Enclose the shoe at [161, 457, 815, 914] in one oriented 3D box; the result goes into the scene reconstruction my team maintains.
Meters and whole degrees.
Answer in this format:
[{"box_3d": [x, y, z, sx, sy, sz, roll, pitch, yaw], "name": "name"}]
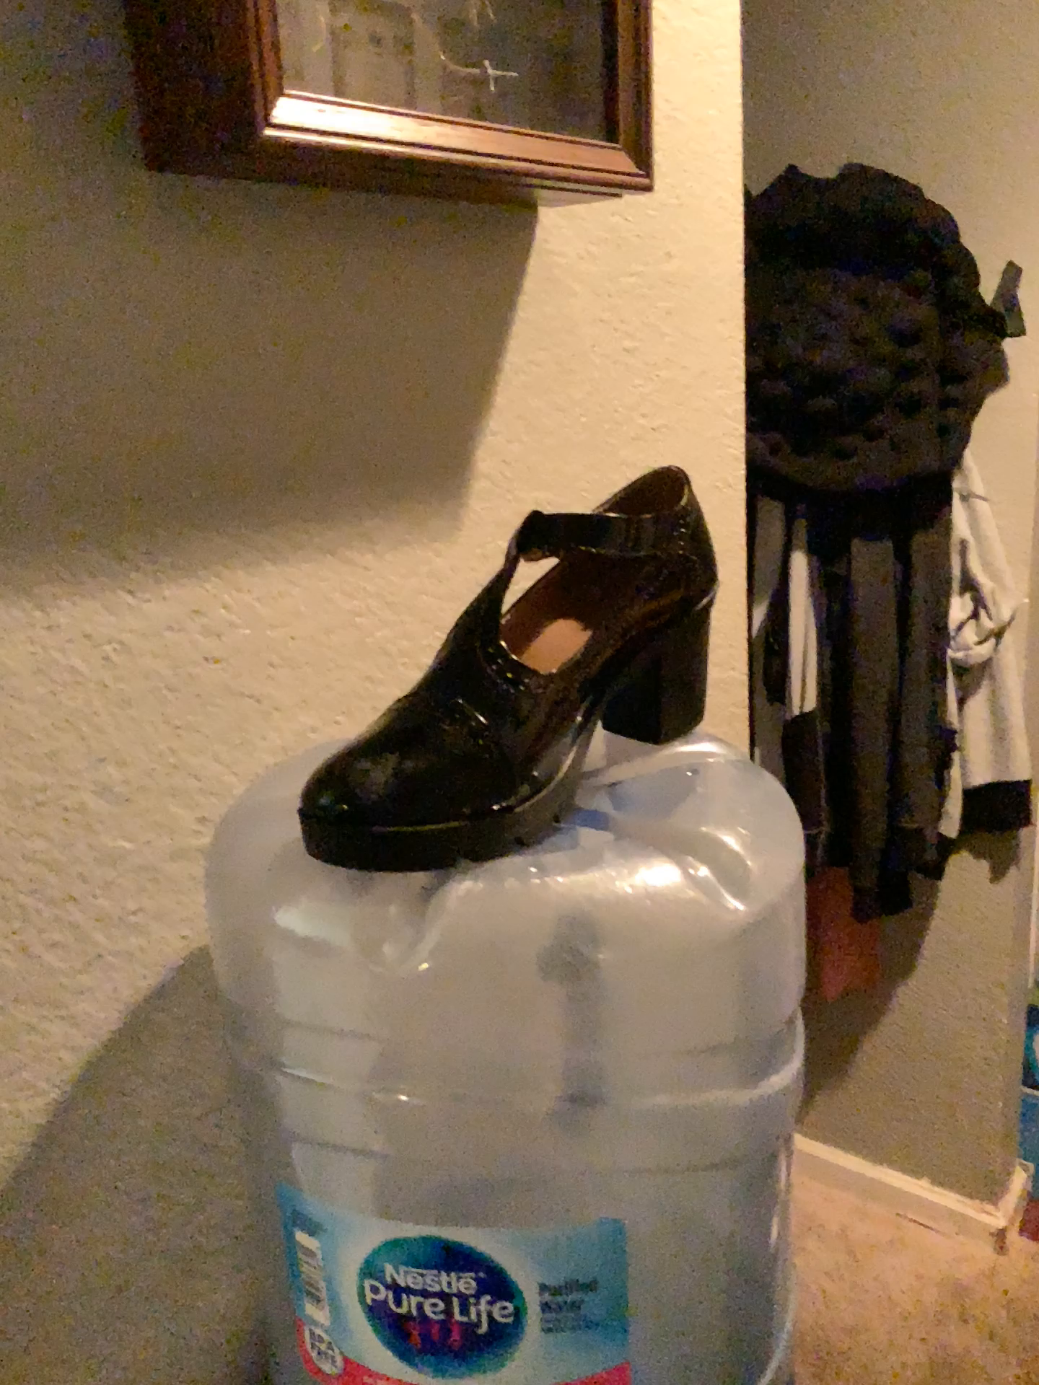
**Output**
[{"box_3d": [0.003, -0.026, 0.487, 0.130, 0.120, 0.250, 11, 22, 42], "name": "shoe"}]
